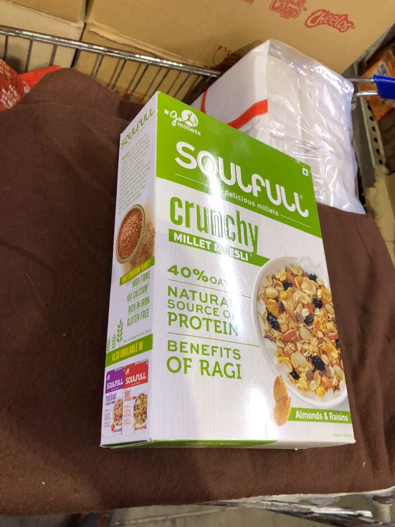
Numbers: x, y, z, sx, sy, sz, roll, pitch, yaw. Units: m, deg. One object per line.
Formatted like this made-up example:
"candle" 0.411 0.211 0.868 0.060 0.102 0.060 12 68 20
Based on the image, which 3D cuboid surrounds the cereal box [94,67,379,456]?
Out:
"cereal box" 0.024 0.002 0.308 0.160 0.060 0.241 15 58 -29
